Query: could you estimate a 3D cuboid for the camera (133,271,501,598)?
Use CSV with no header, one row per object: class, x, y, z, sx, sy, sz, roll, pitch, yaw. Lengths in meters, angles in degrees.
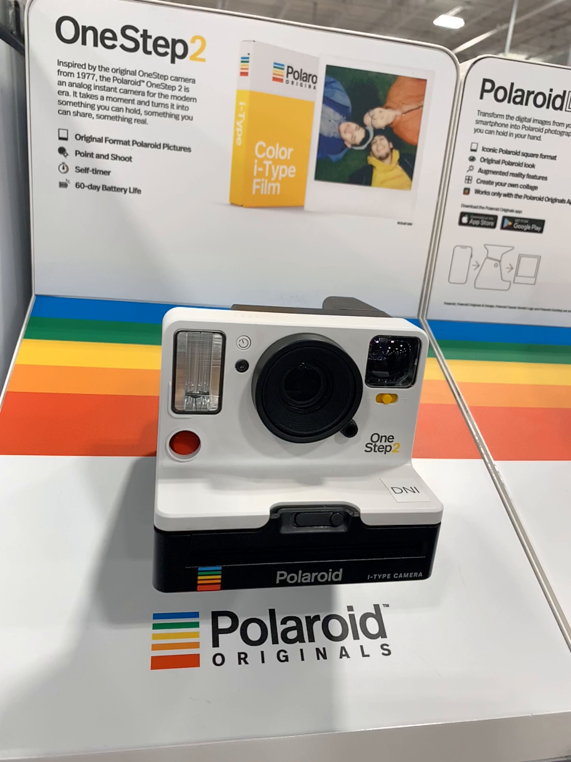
camera,-0.003,0.010,0.271,0.120,0.090,0.145,2,18,-12
